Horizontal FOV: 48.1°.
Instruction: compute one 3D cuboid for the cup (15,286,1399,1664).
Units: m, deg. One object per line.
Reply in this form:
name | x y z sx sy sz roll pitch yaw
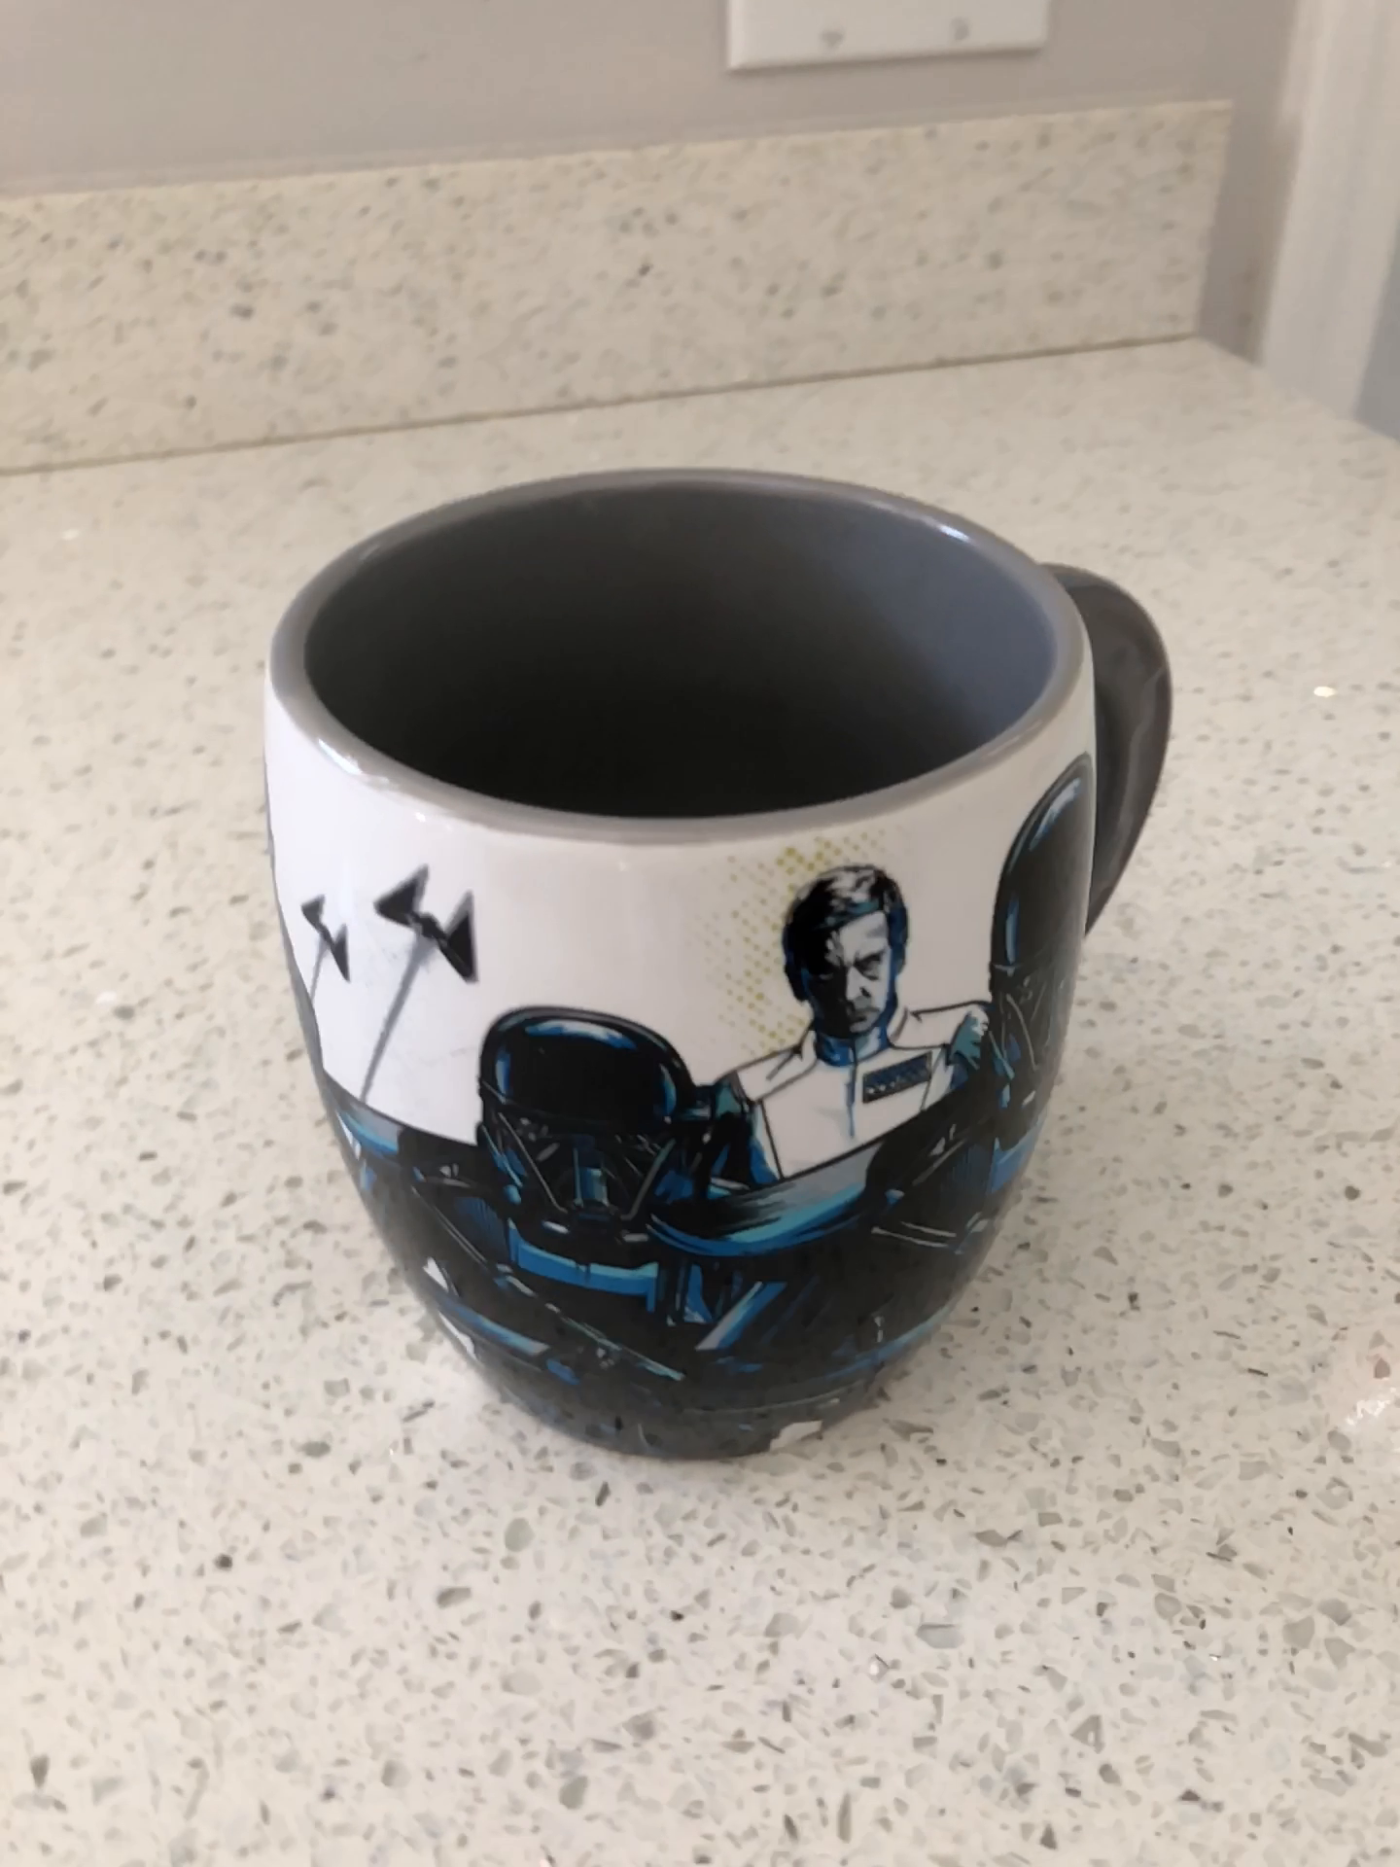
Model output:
cup | 0.010 -0.010 0.208 0.140 0.100 0.100 -27 43 -29
